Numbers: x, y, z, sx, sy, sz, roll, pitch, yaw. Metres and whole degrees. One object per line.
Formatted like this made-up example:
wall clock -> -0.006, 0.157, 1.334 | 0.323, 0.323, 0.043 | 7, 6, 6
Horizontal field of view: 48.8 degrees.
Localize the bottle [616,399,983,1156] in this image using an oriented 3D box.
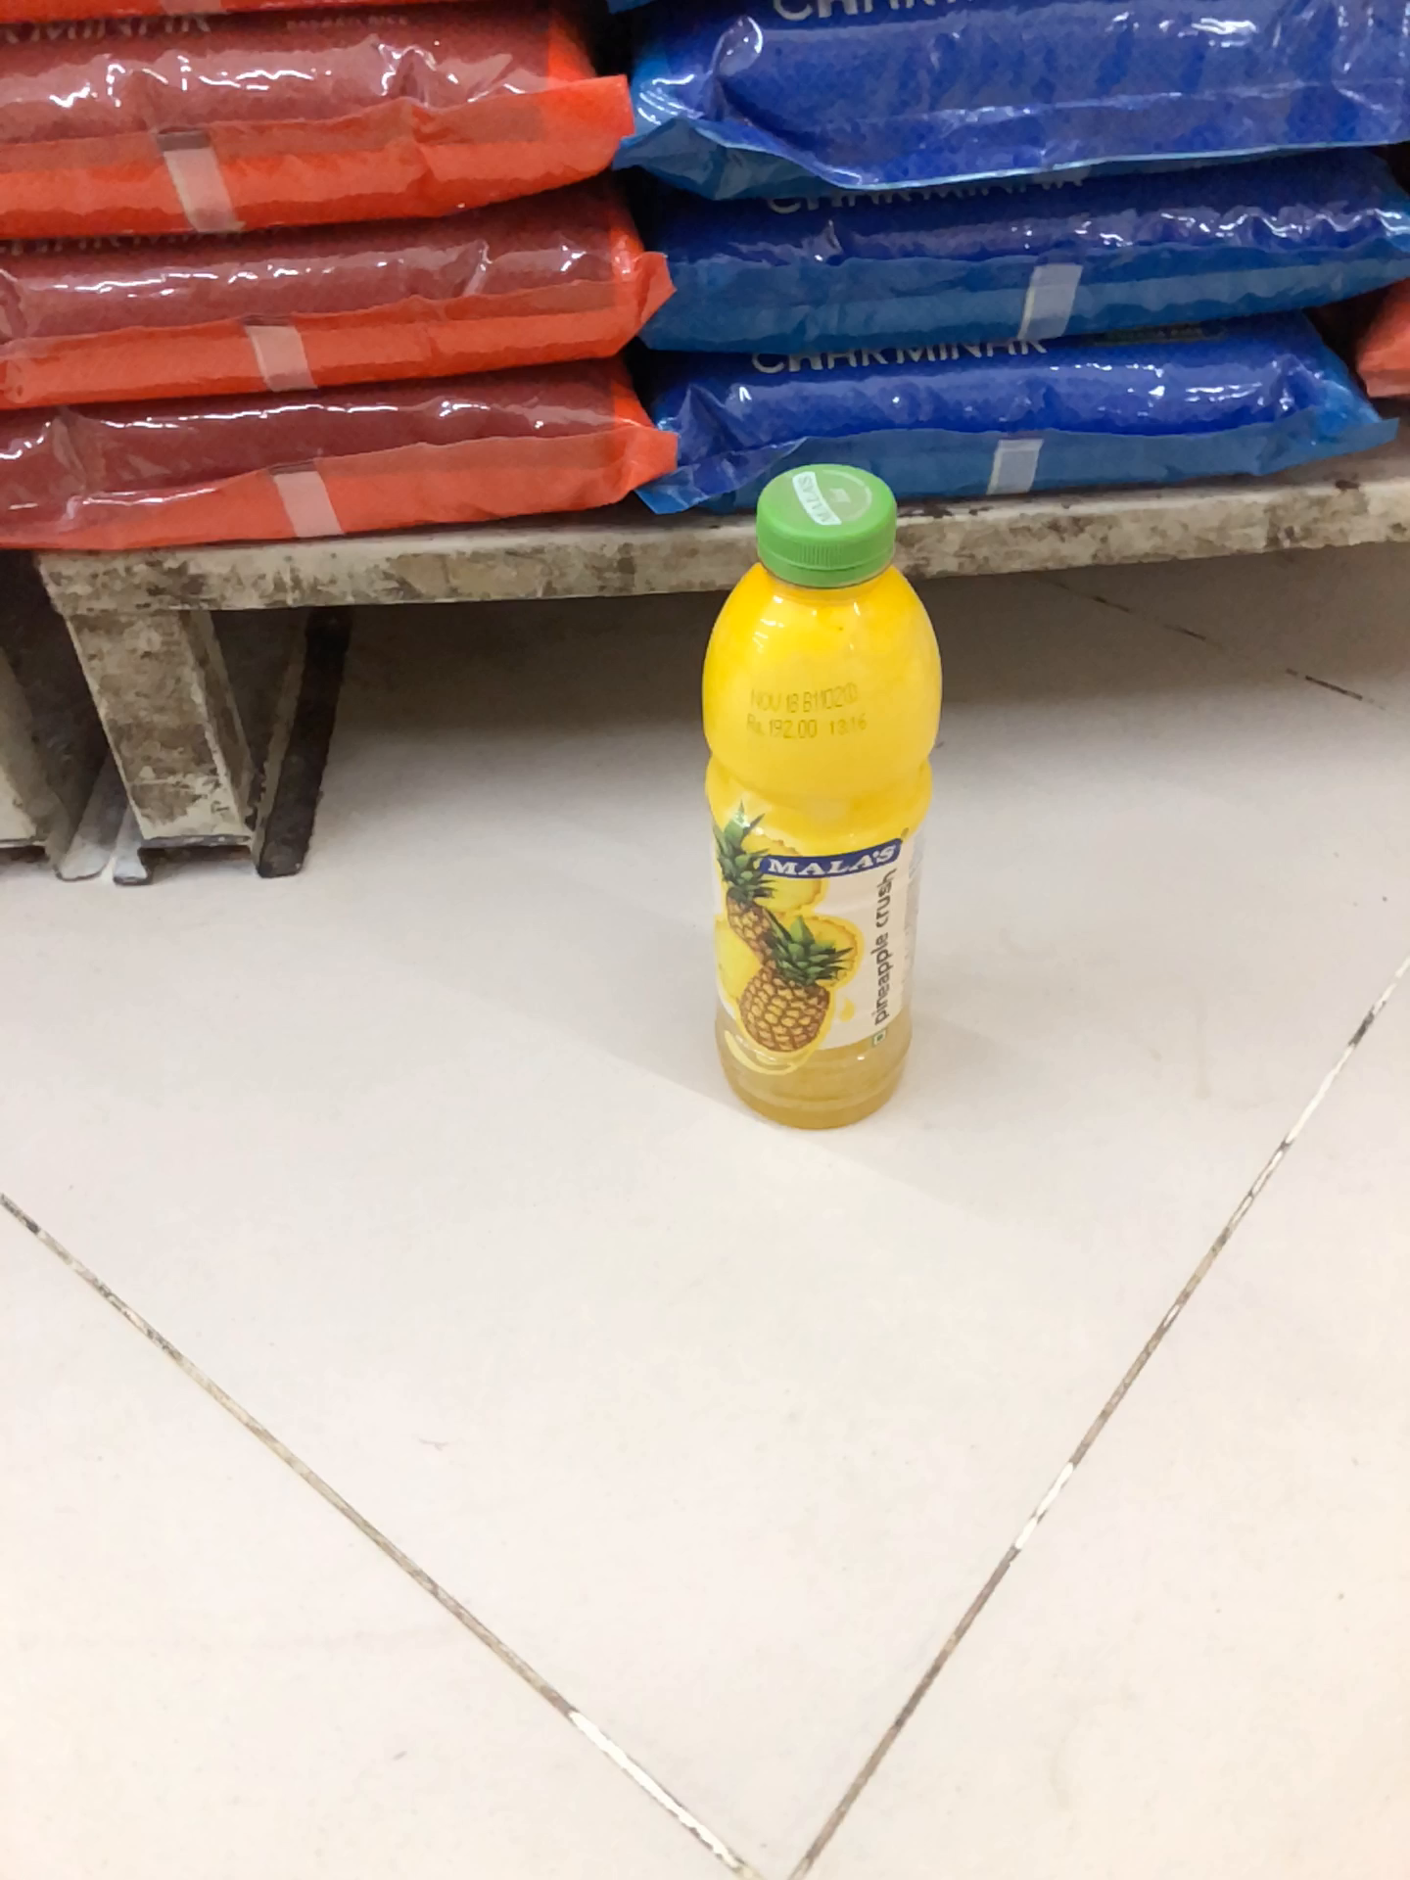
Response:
bottle -> 0.030, -0.041, 0.529 | 0.090, 0.249, 0.091 | -2, 47, 2
